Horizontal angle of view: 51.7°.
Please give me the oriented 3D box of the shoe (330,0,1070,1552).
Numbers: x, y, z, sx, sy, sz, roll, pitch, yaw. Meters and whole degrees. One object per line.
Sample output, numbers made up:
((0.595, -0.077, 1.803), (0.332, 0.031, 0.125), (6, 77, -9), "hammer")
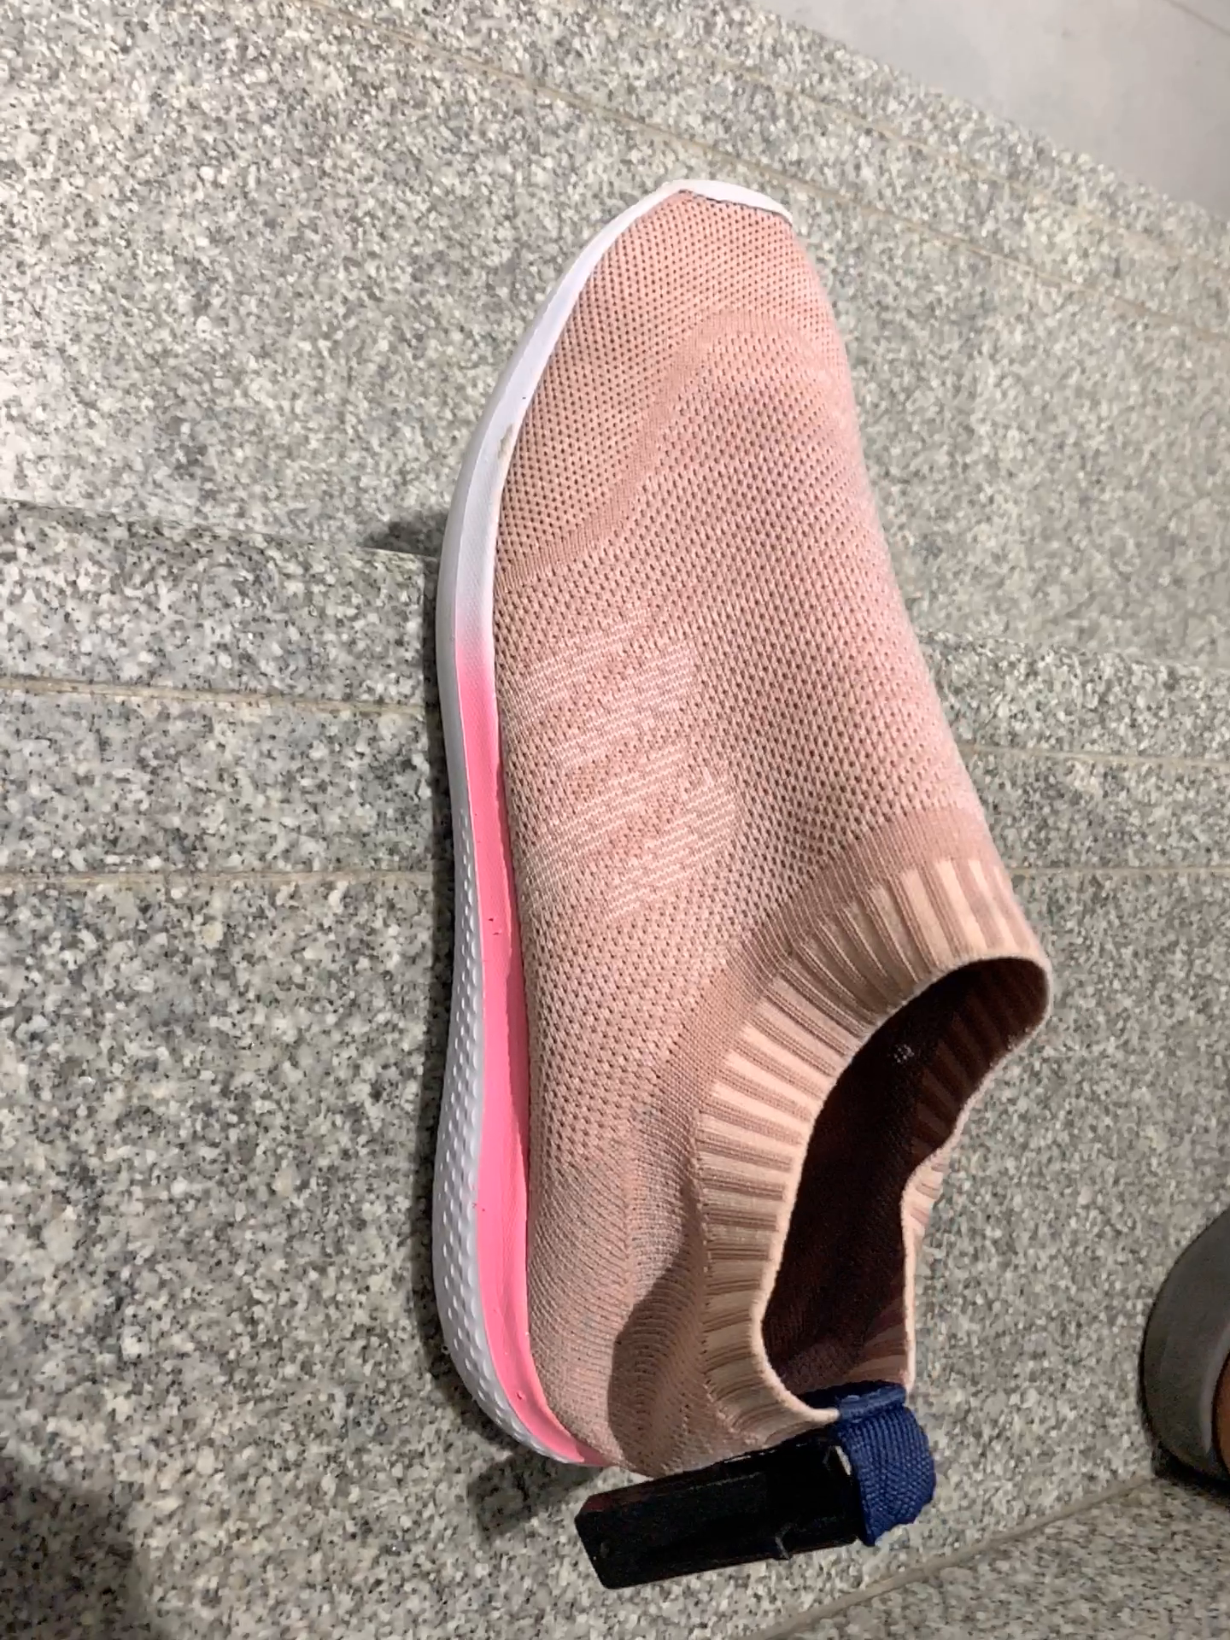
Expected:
((0.016, -0.009, 0.258), (0.100, 0.080, 0.250), (6, 89, -32), "shoe")
